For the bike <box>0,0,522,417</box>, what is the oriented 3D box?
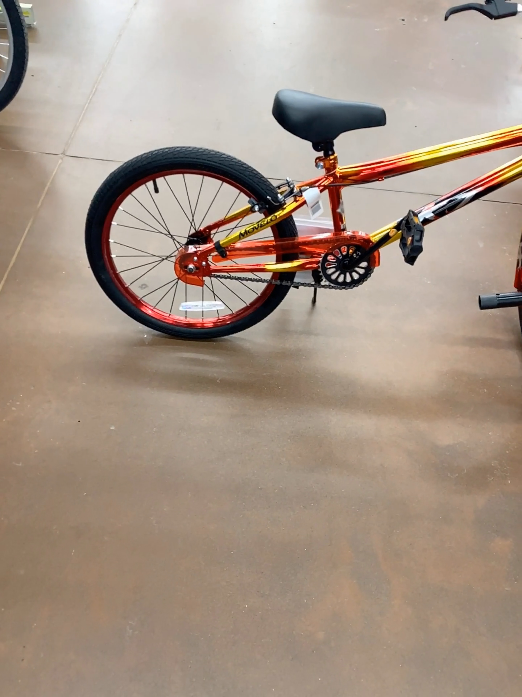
[{"bbox_3d":[0.202,-0.482,1.132,1.123,0.926,0.706,-4,51,-9],"label":"bike"}]
